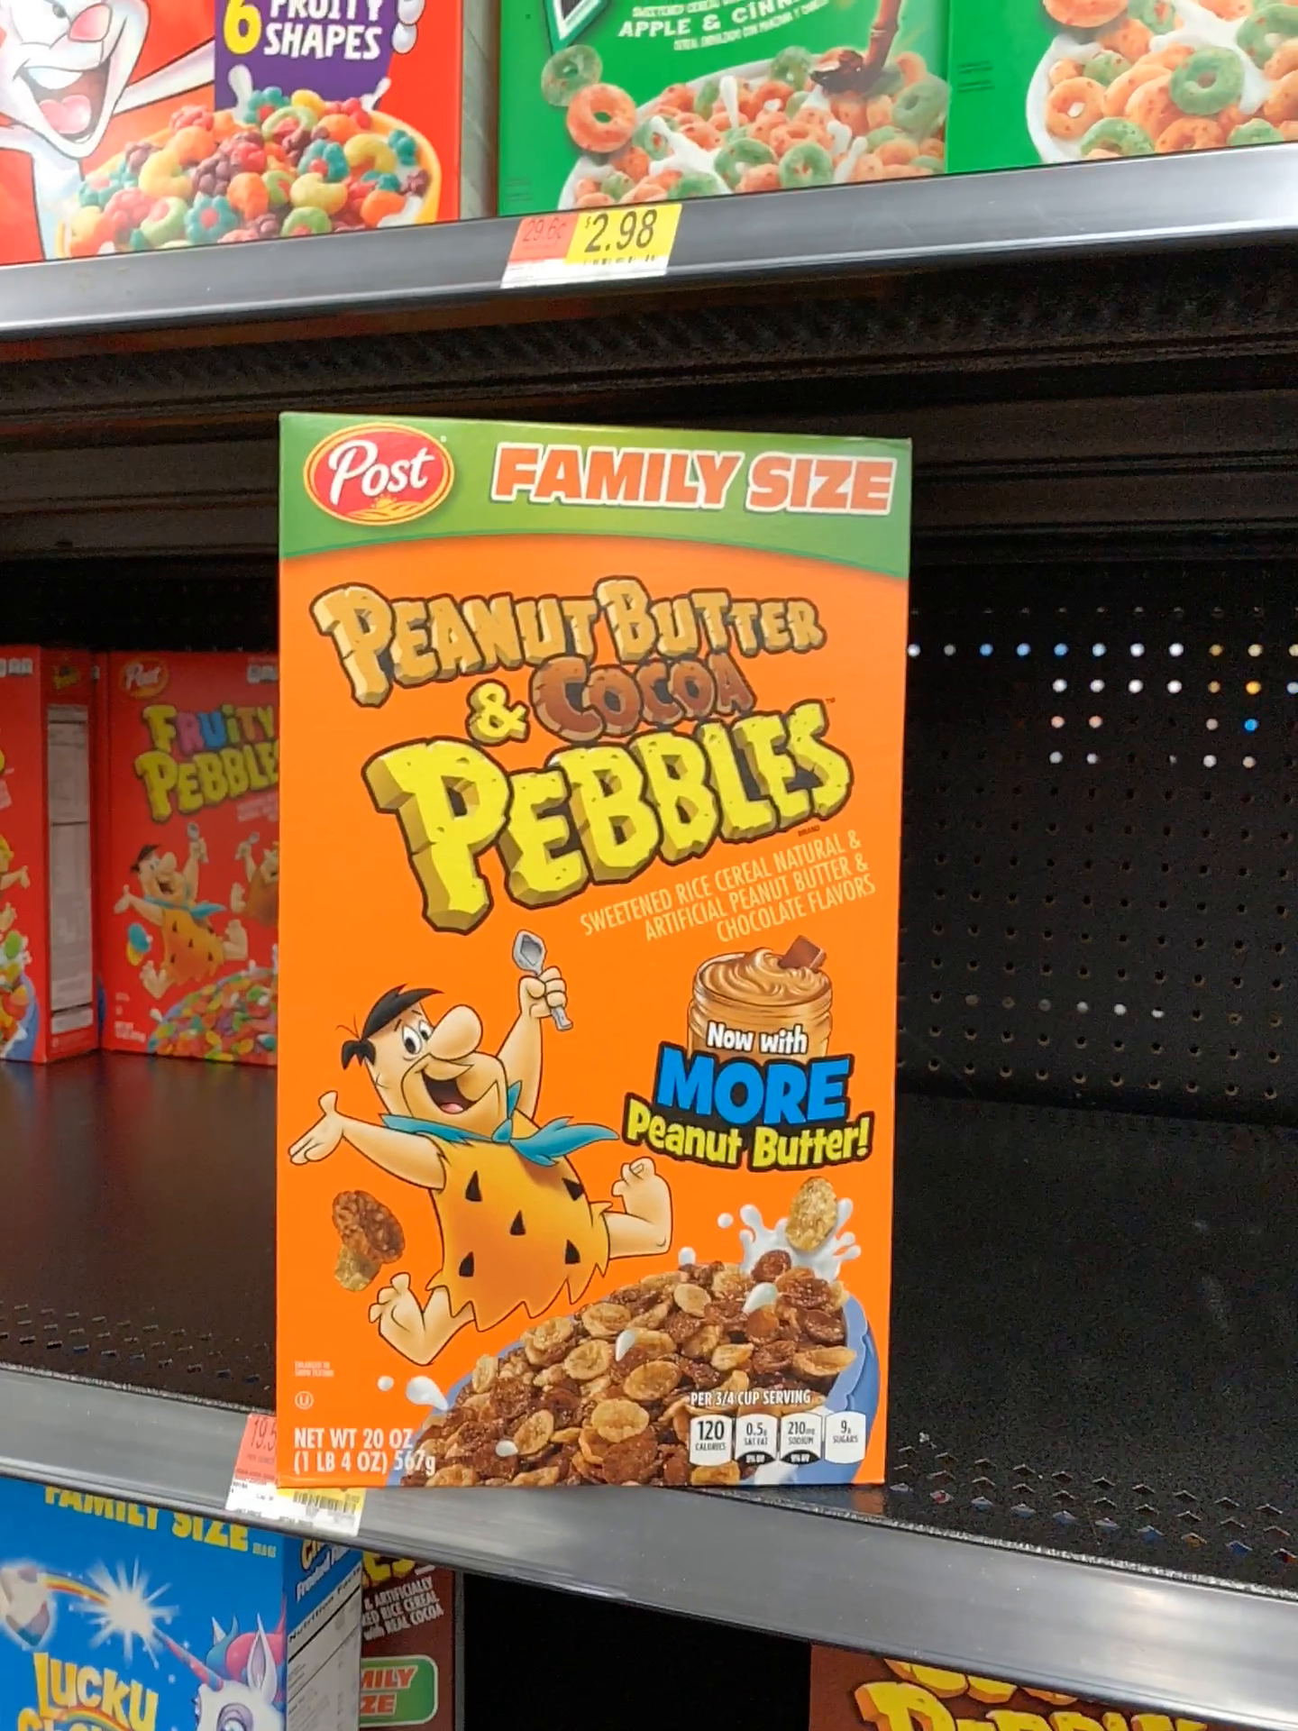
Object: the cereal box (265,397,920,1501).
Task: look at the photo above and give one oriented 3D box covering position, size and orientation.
[{"bbox_3d":[-0.020,0.028,0.448,0.200,0.340,0.060,1,3,-4],"label":"cereal box"}]
